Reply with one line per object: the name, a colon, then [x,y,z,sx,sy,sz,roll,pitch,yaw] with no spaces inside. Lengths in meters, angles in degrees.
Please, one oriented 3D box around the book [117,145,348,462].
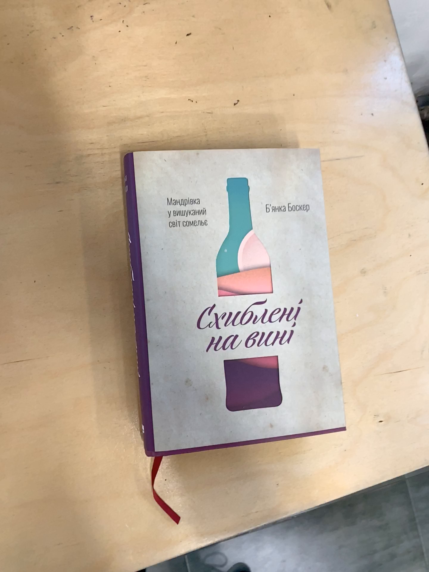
book: [0.010,0.007,0.336,0.150,0.050,0.214,-4,86,-11]
